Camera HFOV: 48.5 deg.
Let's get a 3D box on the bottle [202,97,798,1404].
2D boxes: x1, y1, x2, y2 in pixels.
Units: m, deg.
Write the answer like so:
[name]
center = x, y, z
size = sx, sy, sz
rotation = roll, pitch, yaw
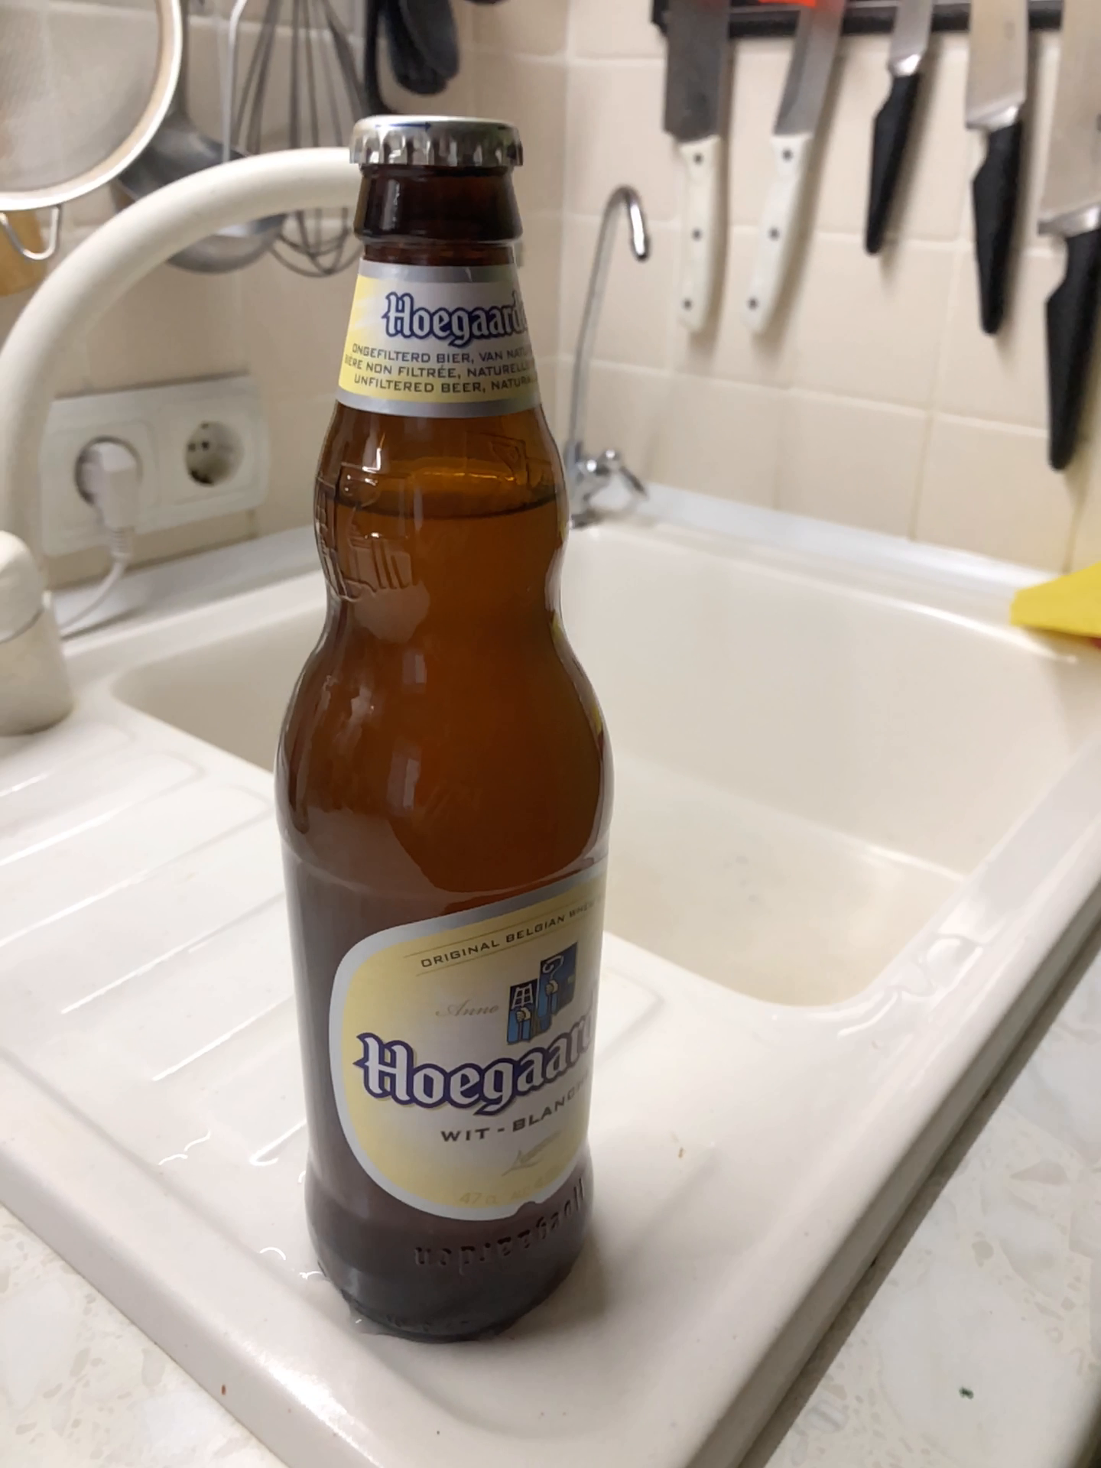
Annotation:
[bottle]
center = -0.012, 0.010, 0.235
size = 0.070, 0.231, 0.060
rotation = -15, 30, -32
